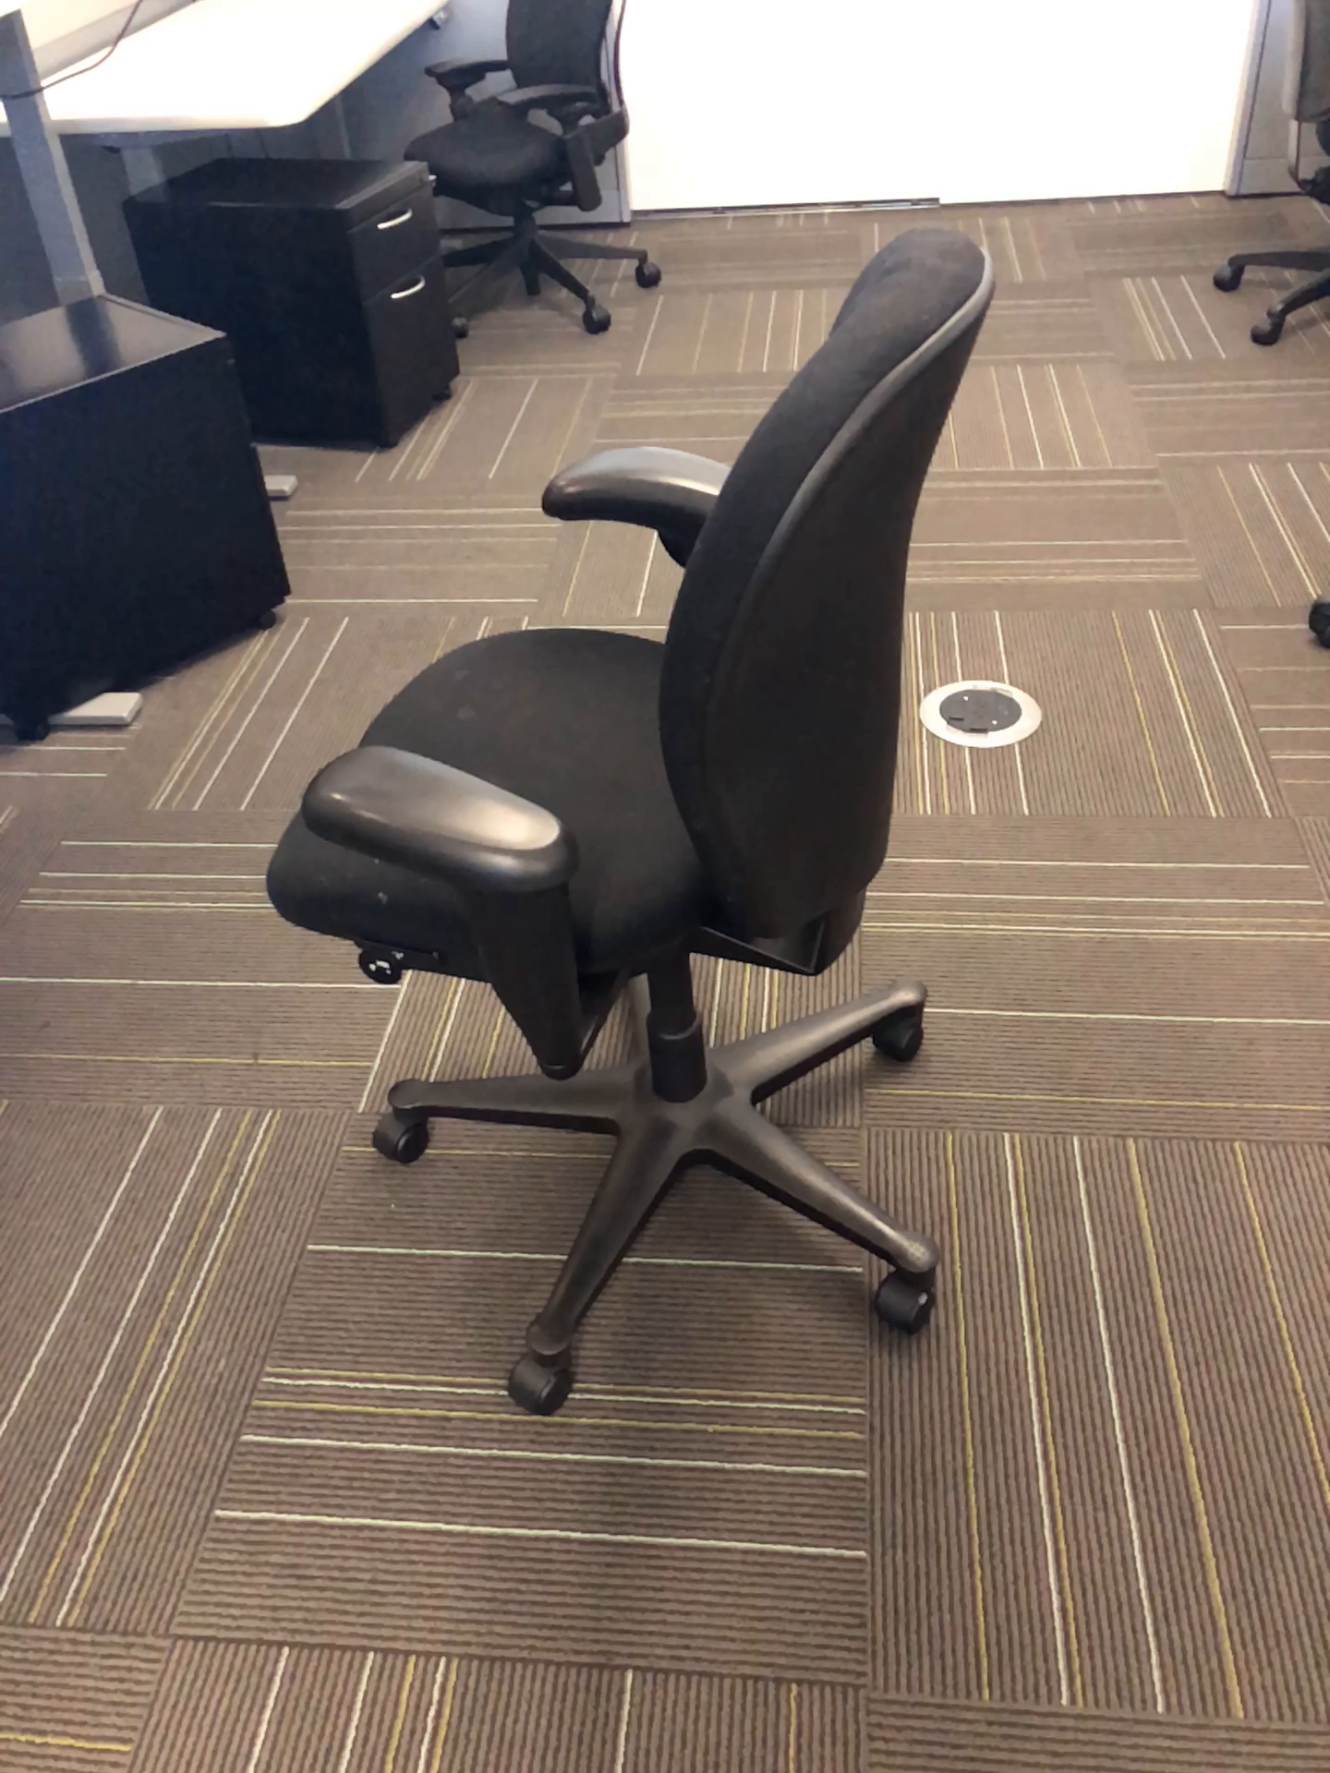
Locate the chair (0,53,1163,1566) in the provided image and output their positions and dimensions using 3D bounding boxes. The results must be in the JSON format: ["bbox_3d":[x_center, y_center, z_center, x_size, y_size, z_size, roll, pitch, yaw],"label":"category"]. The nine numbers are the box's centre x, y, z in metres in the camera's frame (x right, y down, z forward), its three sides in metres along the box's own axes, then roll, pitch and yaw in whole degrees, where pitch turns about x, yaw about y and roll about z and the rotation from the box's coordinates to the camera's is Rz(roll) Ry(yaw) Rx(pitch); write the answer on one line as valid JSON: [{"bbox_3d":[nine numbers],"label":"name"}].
[{"bbox_3d":[-0.039,-0.094,1.279,0.681,0.995,0.703,12,42,20],"label":"chair"}]
